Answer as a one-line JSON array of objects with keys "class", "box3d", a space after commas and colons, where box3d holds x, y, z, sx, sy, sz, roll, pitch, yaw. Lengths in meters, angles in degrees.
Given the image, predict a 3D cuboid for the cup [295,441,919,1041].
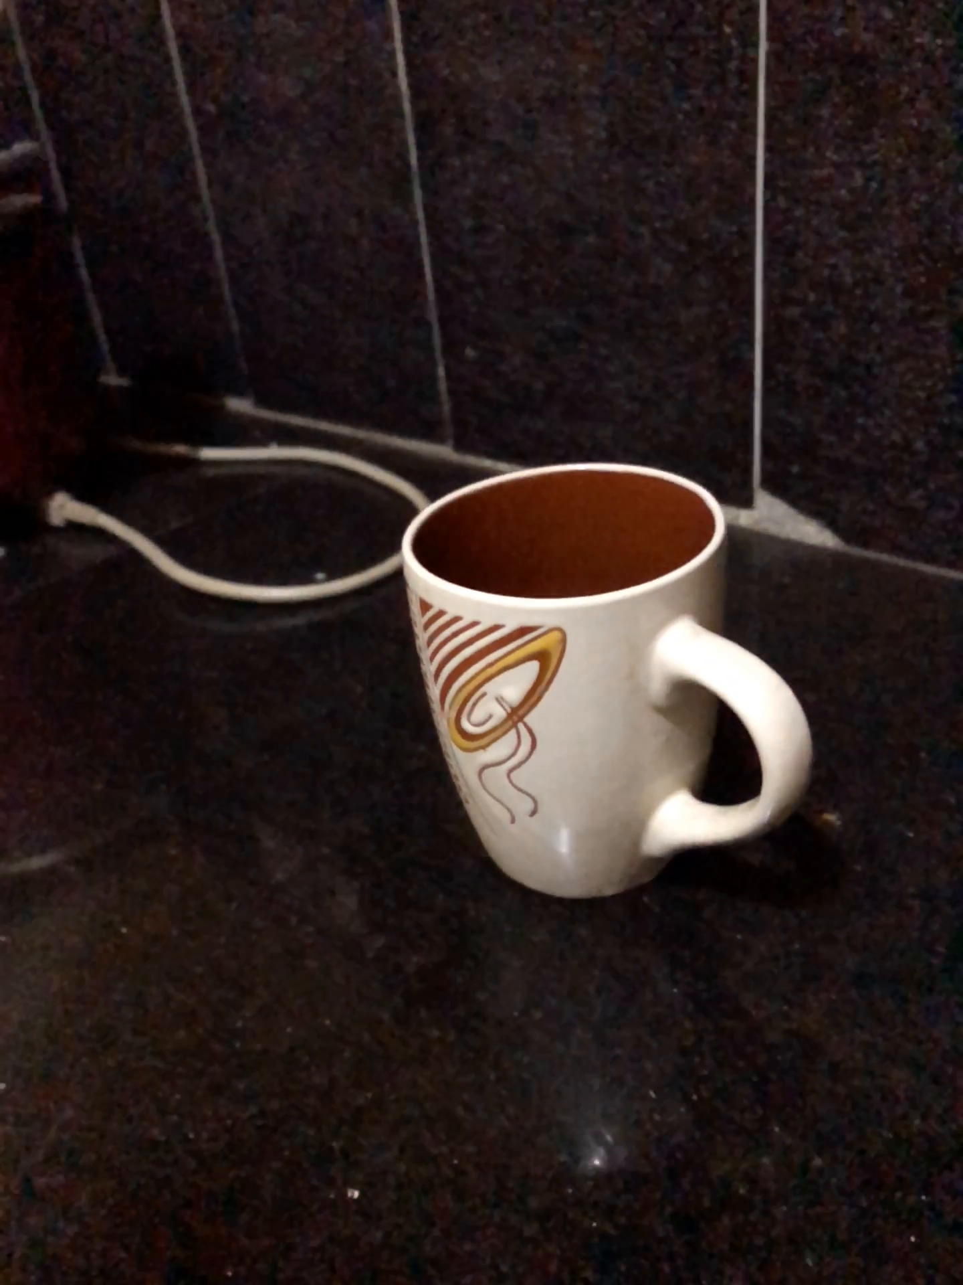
[{"class": "cup", "box3d": [0.032, 0.014, 0.282, 0.120, 0.089, 0.090, 20, 40, 40]}]
